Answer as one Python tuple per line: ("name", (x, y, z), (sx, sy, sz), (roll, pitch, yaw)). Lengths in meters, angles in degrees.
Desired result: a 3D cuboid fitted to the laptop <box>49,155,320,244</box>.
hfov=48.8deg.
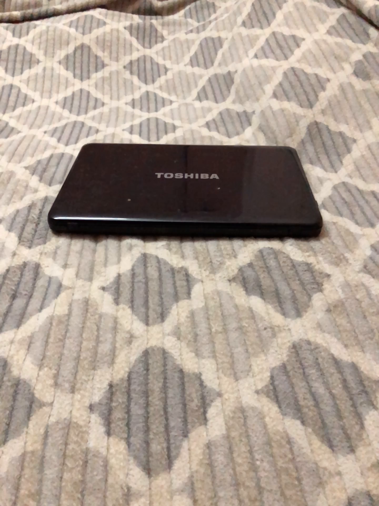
("laptop", (-0.007, -0.098, 0.686), (0.375, 0.023, 0.250), (1, 36, 1))
